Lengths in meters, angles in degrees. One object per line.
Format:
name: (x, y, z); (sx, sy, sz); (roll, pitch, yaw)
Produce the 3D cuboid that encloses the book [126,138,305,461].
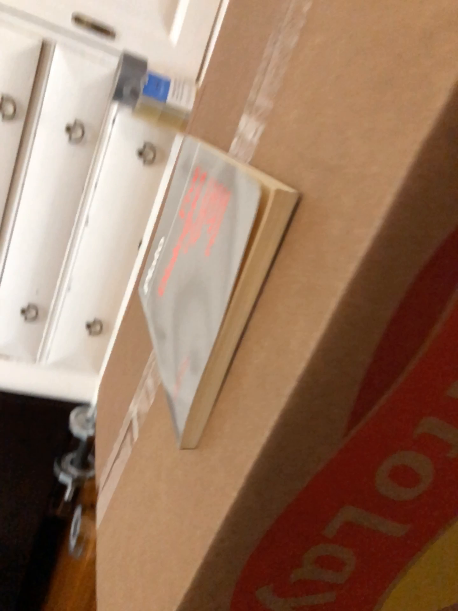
book: (-0.029, -0.028, 0.333); (0.221, 0.020, 0.140); (-124, 52, -62)
